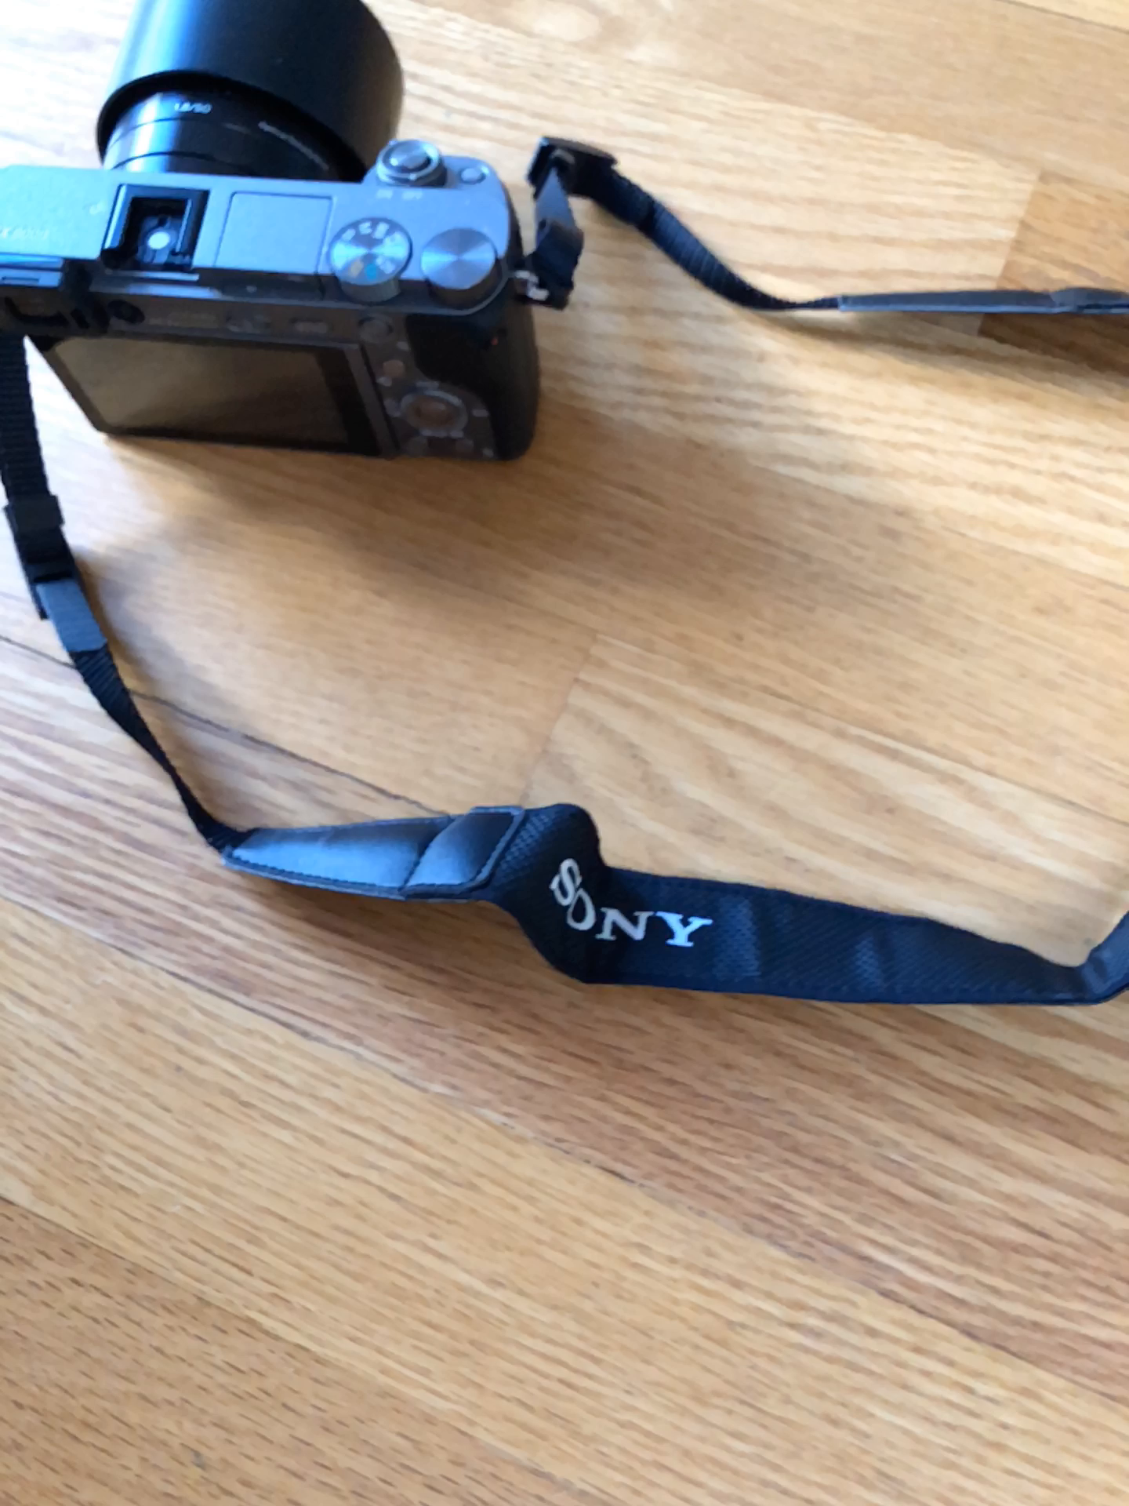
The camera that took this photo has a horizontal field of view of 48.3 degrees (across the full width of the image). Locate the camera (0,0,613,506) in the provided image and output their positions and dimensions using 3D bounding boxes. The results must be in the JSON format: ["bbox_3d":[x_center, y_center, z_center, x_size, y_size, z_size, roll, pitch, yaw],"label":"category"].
[{"bbox_3d":[-0.062,-0.133,0.316,0.136,0.079,0.107,5,72,6],"label":"camera"}]
